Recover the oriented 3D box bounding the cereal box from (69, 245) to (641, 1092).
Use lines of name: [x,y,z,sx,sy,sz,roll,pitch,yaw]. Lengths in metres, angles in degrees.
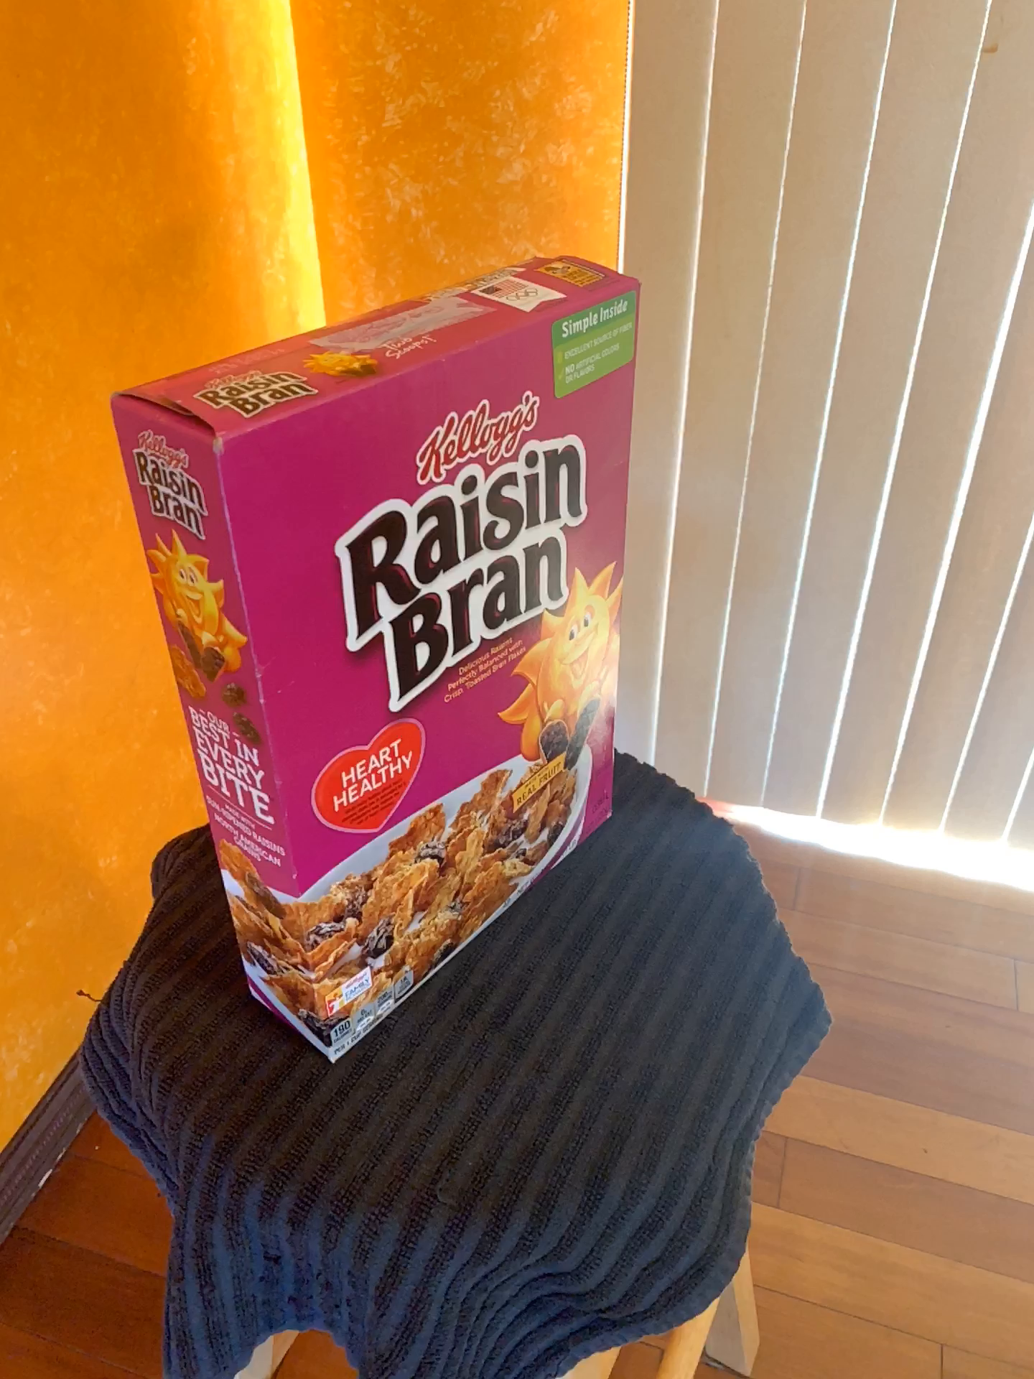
cereal box: [-0.041,-0.006,0.435,0.060,0.288,0.201,26,44,31]
